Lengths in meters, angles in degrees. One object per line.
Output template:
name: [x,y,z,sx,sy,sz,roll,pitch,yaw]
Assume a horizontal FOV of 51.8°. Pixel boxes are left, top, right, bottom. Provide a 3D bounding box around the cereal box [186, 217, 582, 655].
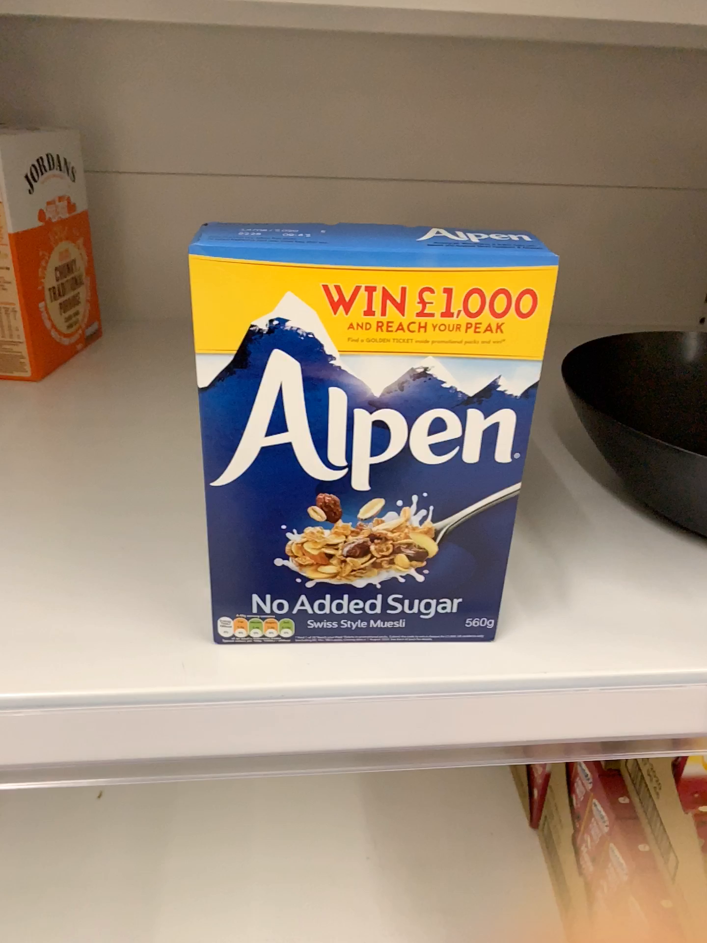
cereal box: [0.009,-0.011,0.410,0.180,0.238,0.061,1,27,-3]
